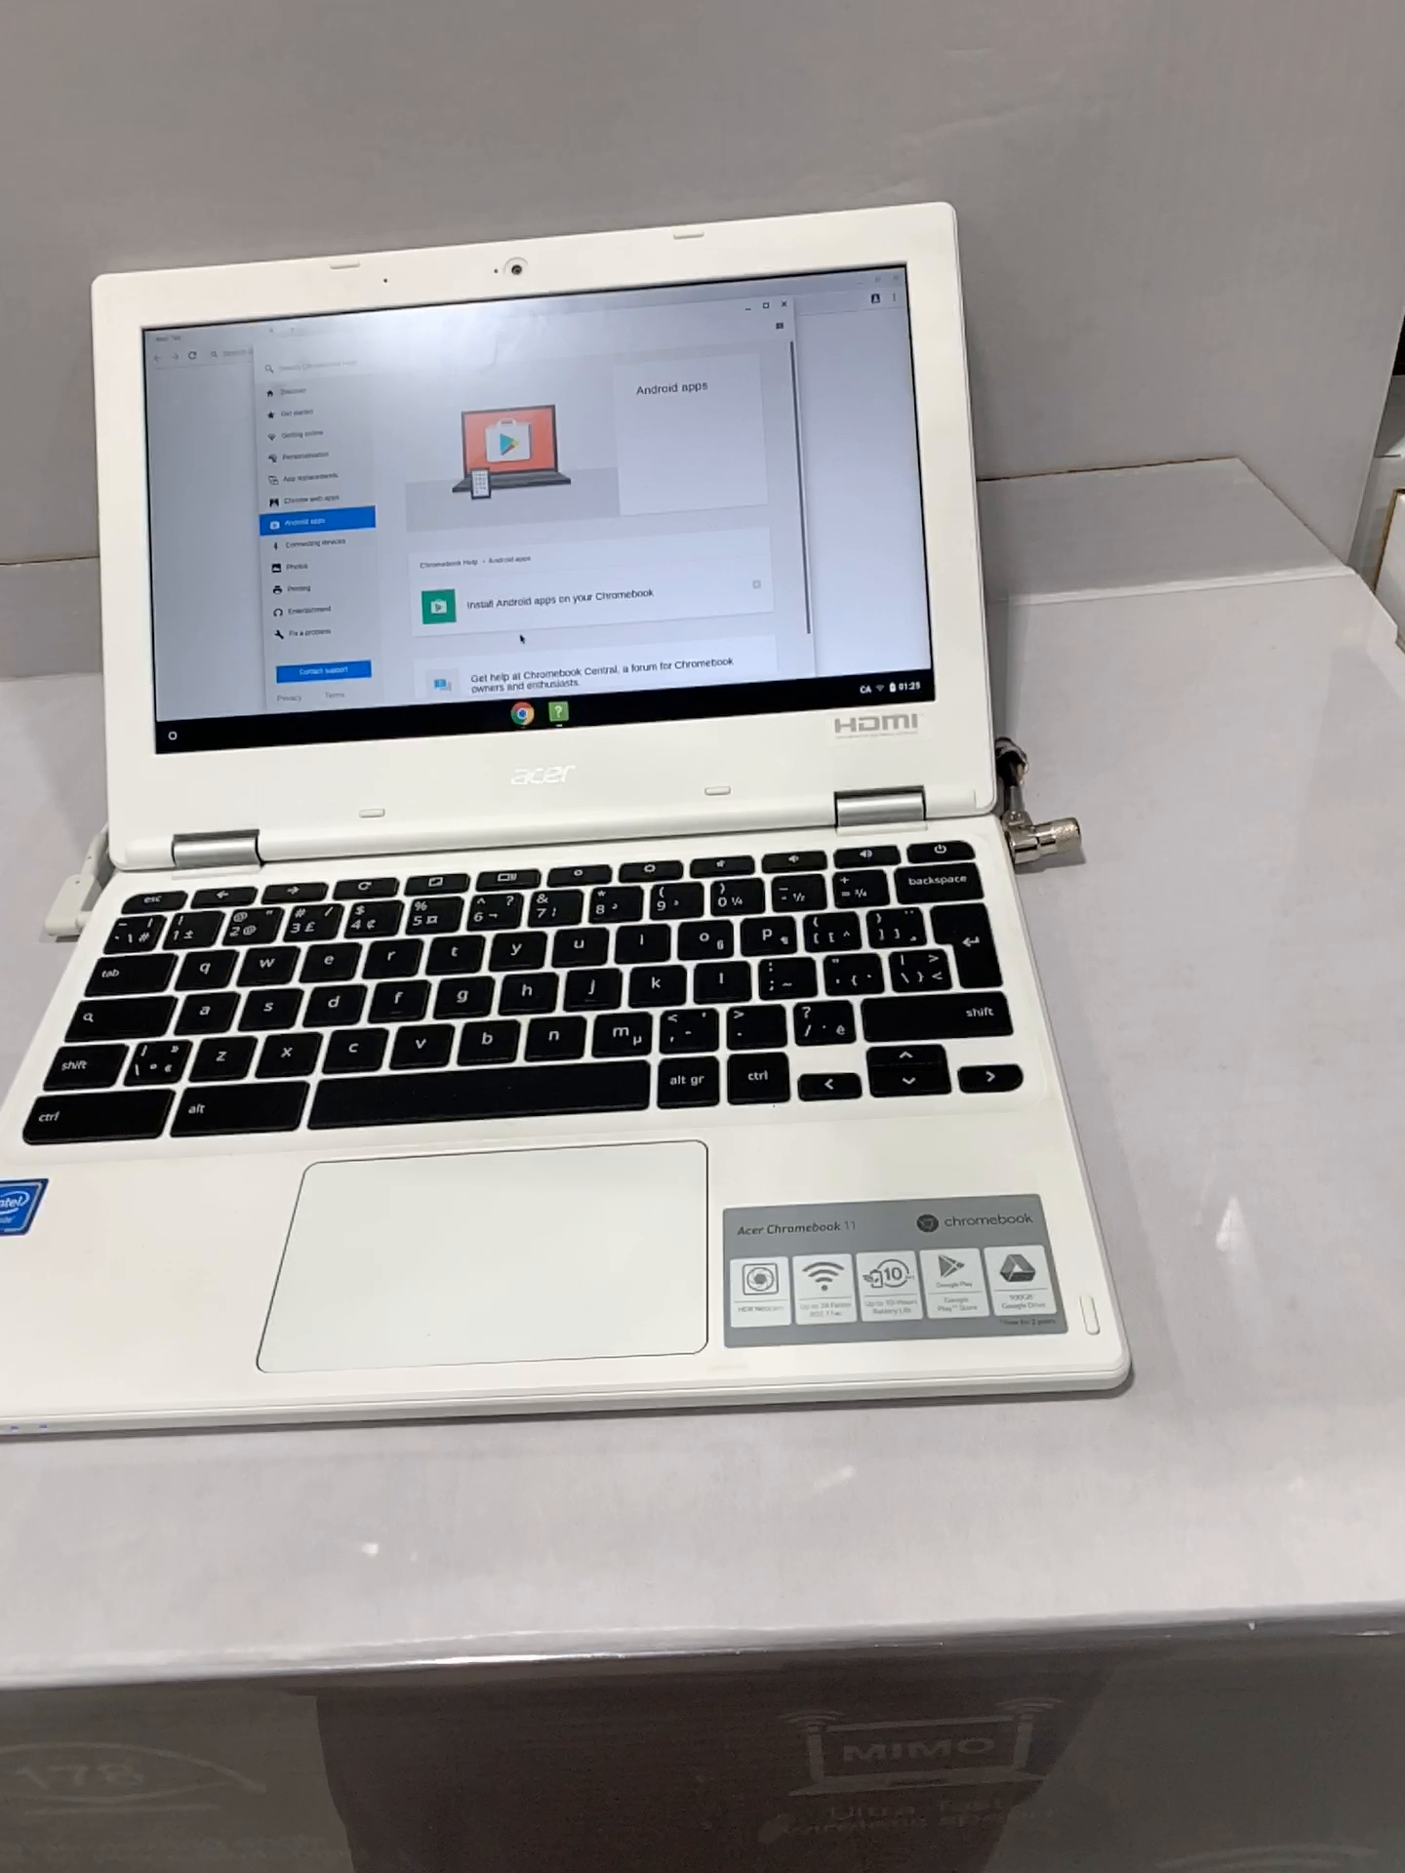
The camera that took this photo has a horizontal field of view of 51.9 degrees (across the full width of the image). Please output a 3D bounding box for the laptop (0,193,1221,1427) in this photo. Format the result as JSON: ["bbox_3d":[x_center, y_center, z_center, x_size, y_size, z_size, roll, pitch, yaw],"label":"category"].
[{"bbox_3d":[-0.055,-0.061,0.392,0.282,0.132,0.330,-3,44,4],"label":"laptop"}]
